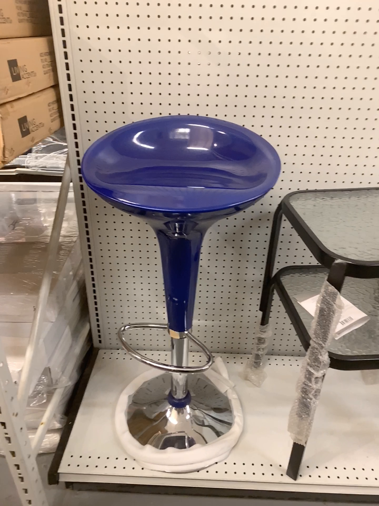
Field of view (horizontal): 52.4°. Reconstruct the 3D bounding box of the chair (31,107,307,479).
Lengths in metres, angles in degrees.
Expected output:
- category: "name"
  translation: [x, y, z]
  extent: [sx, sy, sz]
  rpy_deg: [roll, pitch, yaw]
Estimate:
- category: "chair"
  translation: [-0.035, 0.112, 0.995]
  extent: [0.434, 0.853, 0.419]
  rpy_deg: [2, 29, 1]
